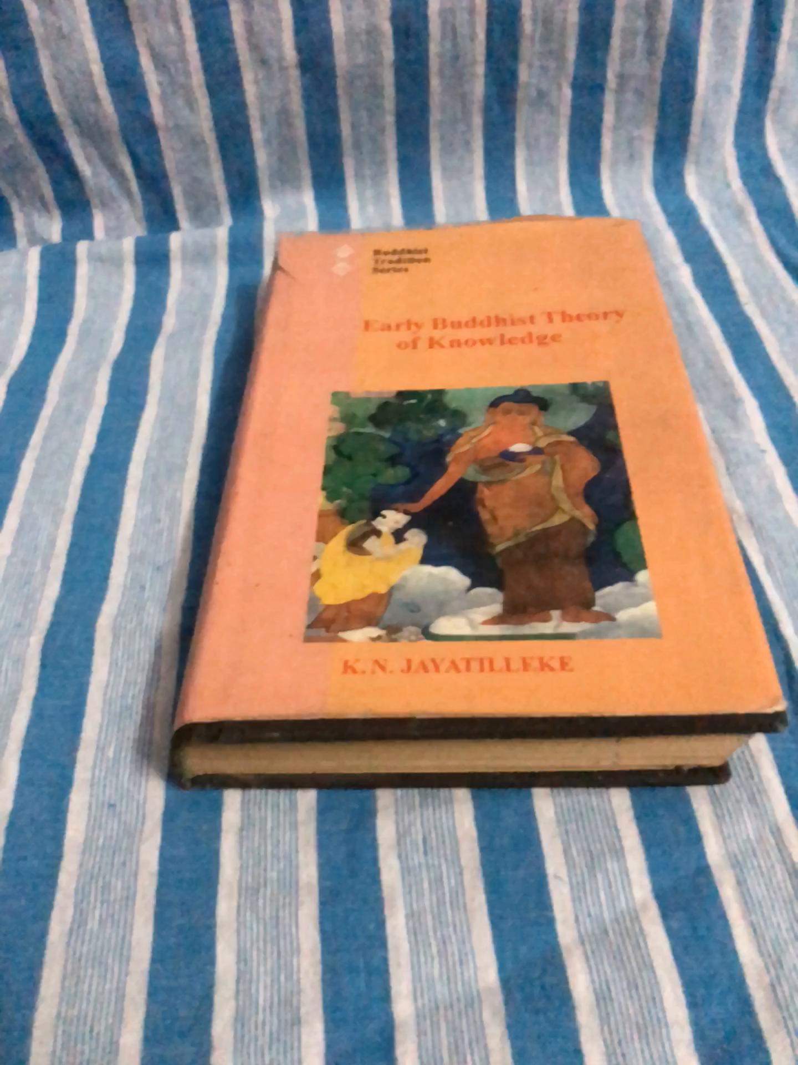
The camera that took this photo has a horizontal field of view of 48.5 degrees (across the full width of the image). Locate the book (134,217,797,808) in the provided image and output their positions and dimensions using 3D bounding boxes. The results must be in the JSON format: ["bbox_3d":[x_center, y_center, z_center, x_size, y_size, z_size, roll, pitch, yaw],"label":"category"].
[{"bbox_3d":[0.016,-0.026,0.283,0.150,0.030,0.221,-1,50,2],"label":"book"}]
